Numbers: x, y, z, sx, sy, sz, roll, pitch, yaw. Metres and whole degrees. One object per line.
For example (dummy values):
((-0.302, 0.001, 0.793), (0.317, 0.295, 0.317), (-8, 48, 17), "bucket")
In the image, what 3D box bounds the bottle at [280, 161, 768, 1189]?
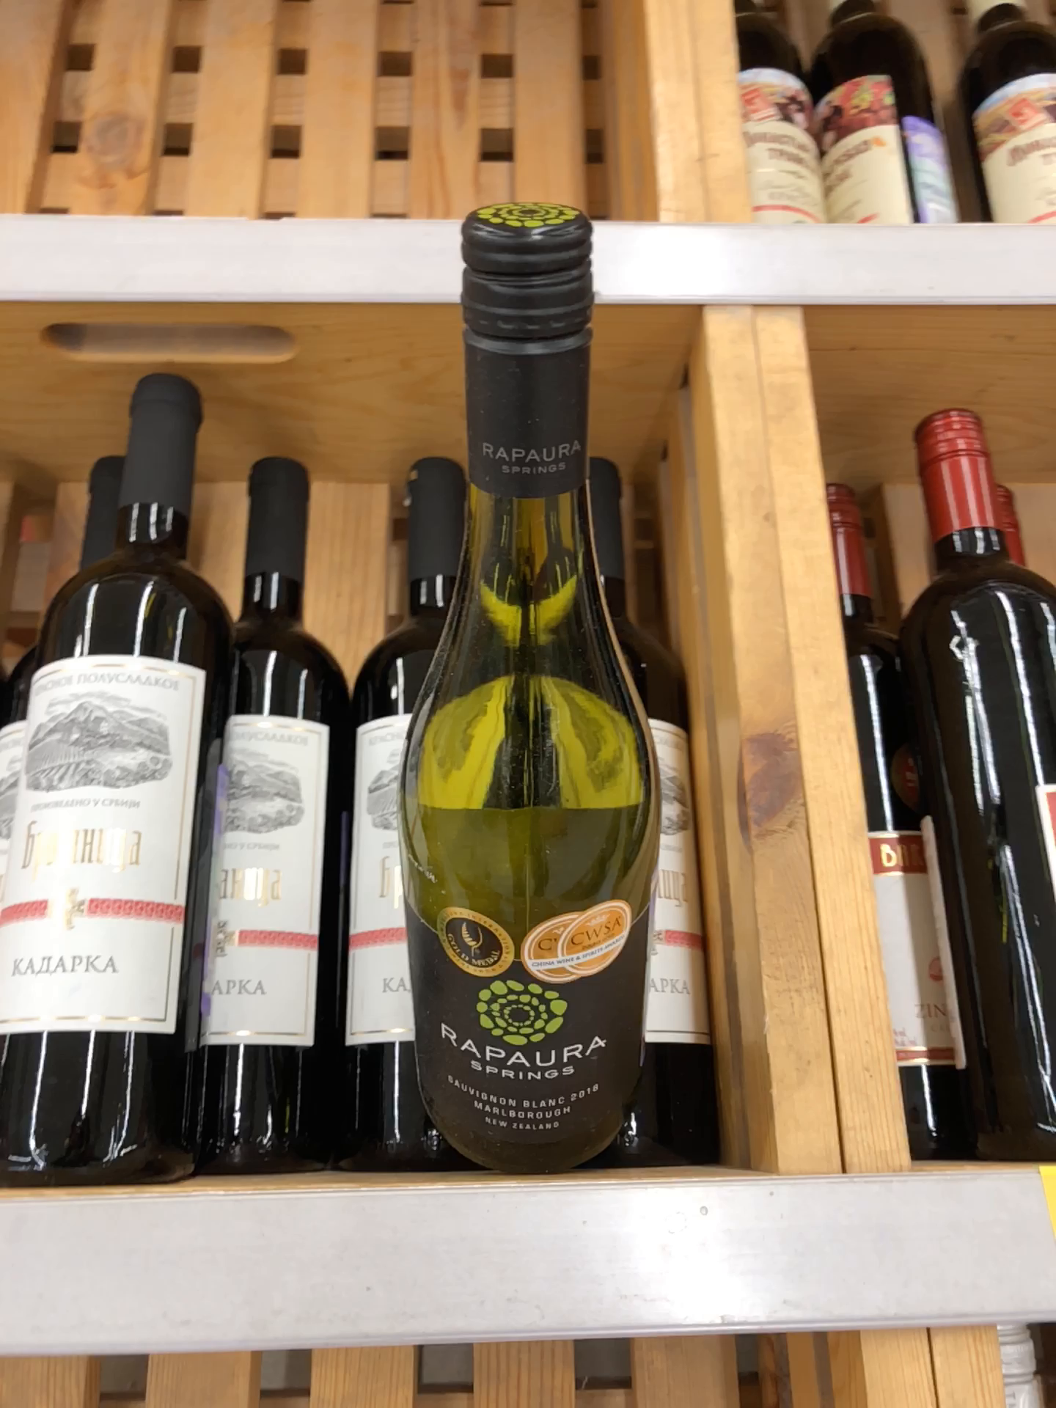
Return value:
((0.000, 0.011, 0.334), (0.090, 0.288, 0.090), (0, 34, 0), "bottle")
